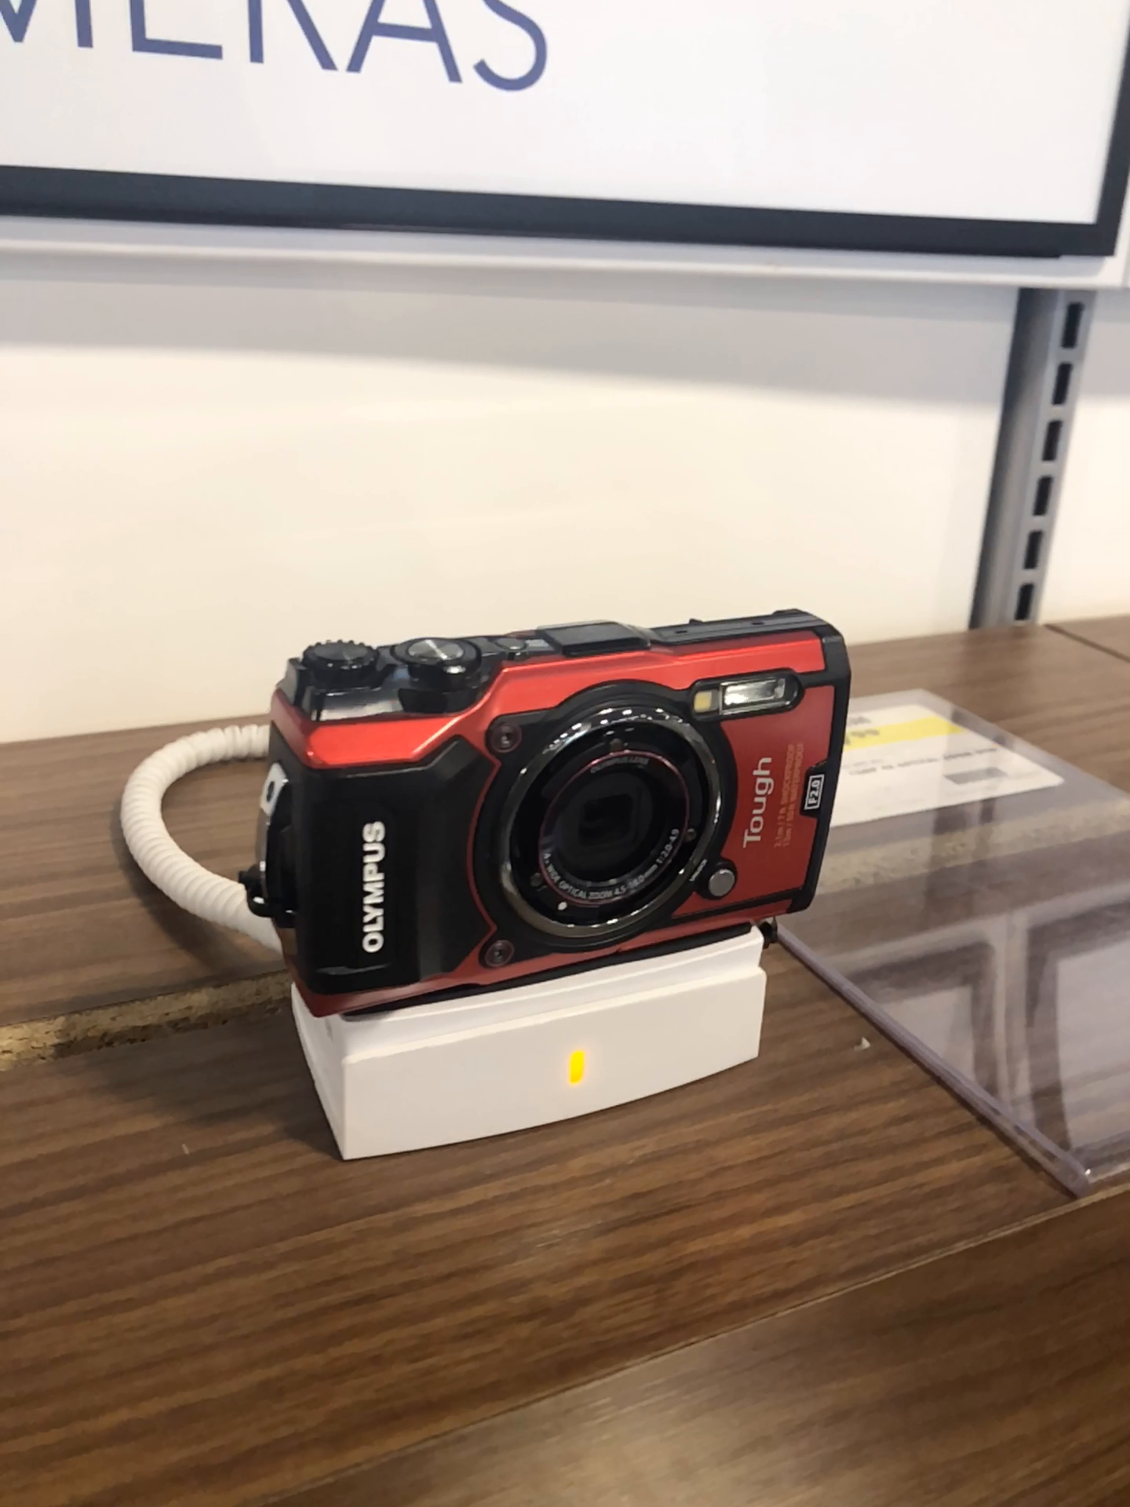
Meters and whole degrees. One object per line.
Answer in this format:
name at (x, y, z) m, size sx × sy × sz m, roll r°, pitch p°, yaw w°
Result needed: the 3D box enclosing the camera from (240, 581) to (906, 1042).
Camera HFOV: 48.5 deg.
camera at (0.003, 0.006, 0.235) m, size 0.117 × 0.064 × 0.030 m, roll -7°, pitch 23°, yaw -23°
